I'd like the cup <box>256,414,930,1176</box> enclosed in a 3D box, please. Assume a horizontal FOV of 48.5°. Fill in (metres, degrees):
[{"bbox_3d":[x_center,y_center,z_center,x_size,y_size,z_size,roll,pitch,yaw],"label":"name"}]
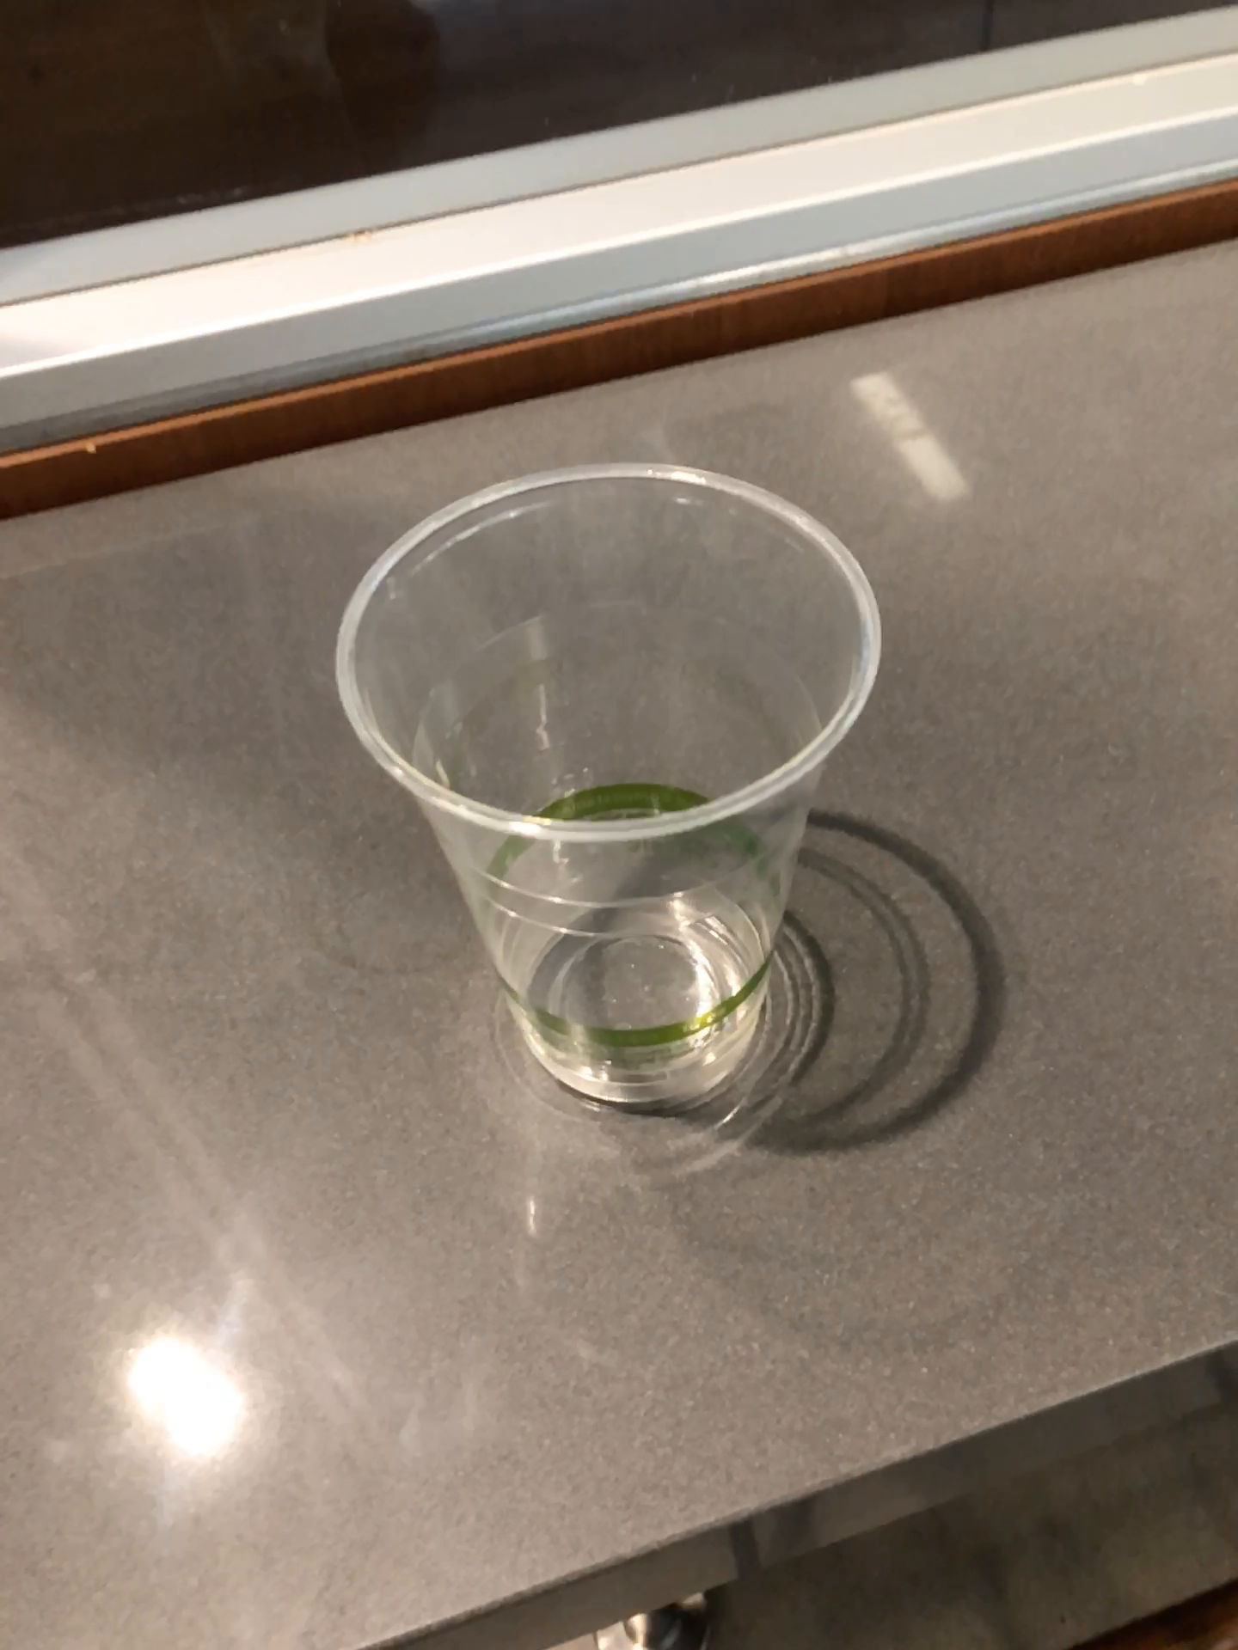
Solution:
[{"bbox_3d":[0.004,-0.007,0.288,0.100,0.110,0.100,-3,49,3],"label":"cup"}]
